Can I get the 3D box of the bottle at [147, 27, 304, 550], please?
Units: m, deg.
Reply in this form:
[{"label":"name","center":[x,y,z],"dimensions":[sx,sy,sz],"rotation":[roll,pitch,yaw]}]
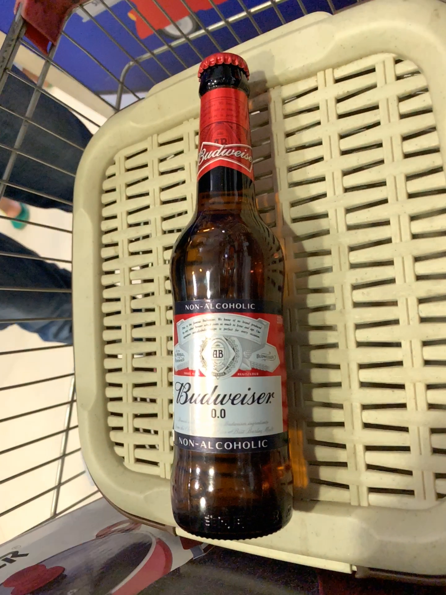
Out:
[{"label":"bottle","center":[0.003,-0.006,0.230],"dimensions":[0.060,0.060,0.220],"rotation":[-3,85,15]}]
